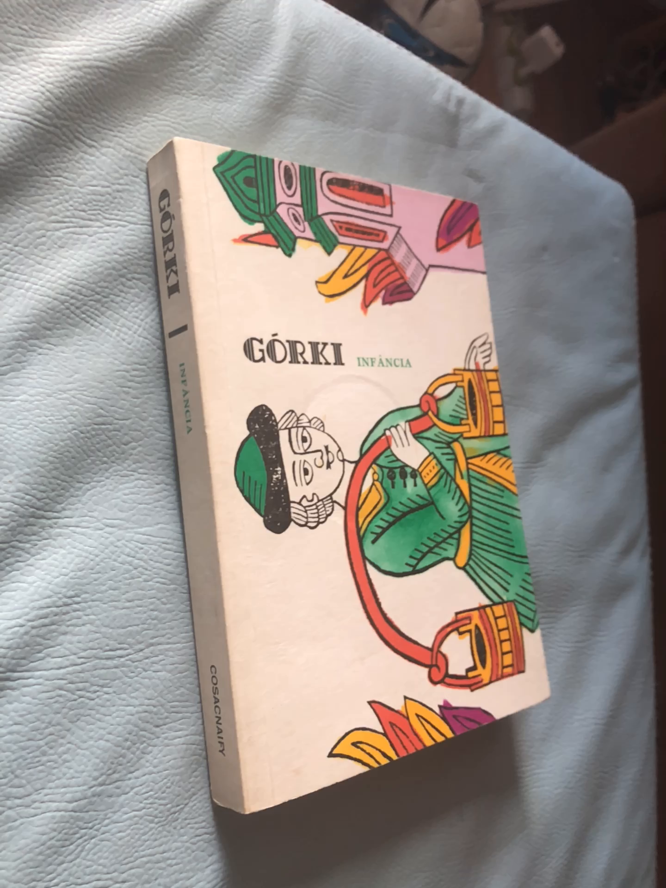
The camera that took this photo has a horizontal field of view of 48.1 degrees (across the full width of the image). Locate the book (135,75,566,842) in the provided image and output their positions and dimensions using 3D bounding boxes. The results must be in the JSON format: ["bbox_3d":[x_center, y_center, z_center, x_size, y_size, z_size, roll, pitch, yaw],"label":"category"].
[{"bbox_3d":[0.011,-0.001,0.245,0.131,0.030,0.200,-2,83,-38],"label":"book"}]
